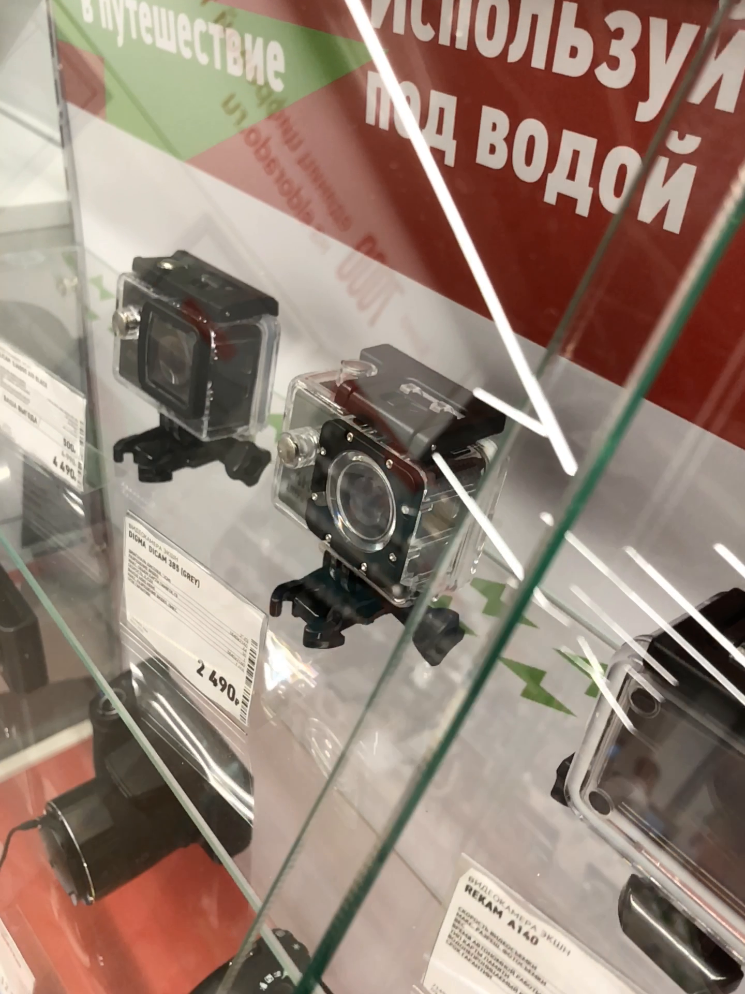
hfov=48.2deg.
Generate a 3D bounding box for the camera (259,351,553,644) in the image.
[{"bbox_3d":[0.007,-0.004,0.270,0.048,0.055,0.077,-18,41,-38],"label":"camera"}]

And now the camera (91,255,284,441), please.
[{"bbox_3d":[-0.075,-0.061,0.326,0.036,0.045,0.072,-17,40,-43],"label":"camera"}]
